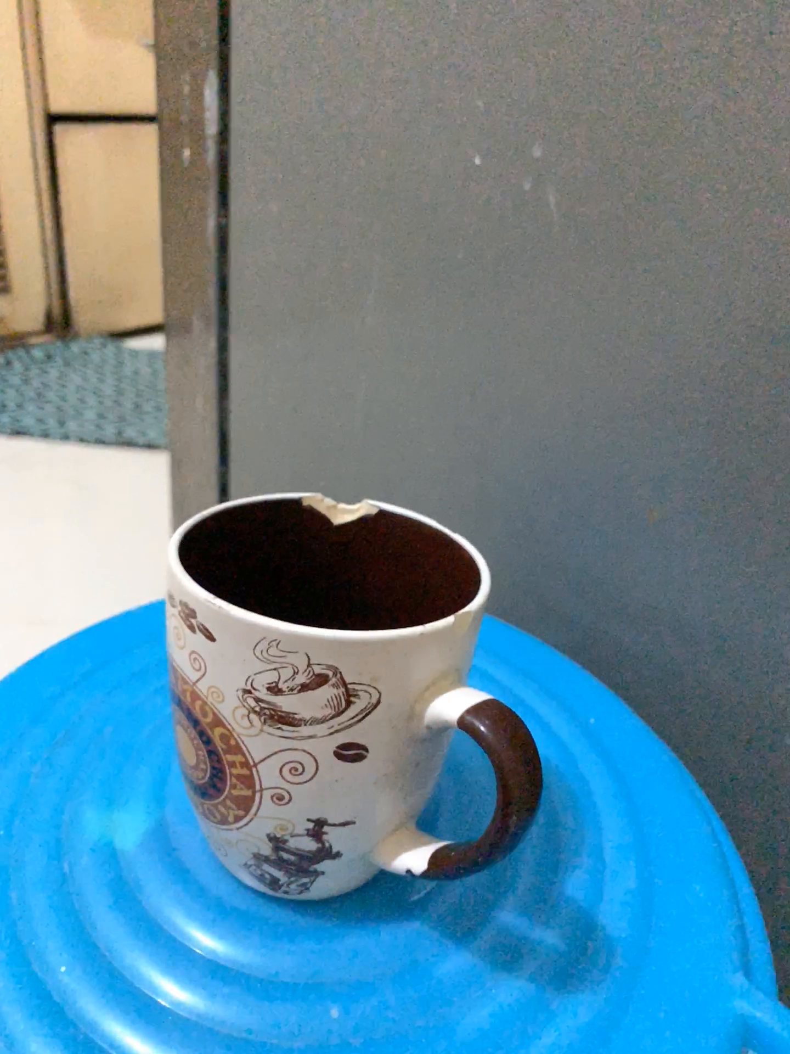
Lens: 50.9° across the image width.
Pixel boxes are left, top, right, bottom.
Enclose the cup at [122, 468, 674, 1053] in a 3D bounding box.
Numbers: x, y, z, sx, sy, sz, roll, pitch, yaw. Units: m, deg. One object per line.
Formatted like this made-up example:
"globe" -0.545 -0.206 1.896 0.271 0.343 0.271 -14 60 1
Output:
"cup" -0.008 0.046 0.213 0.080 0.079 0.110 -12 31 -39
